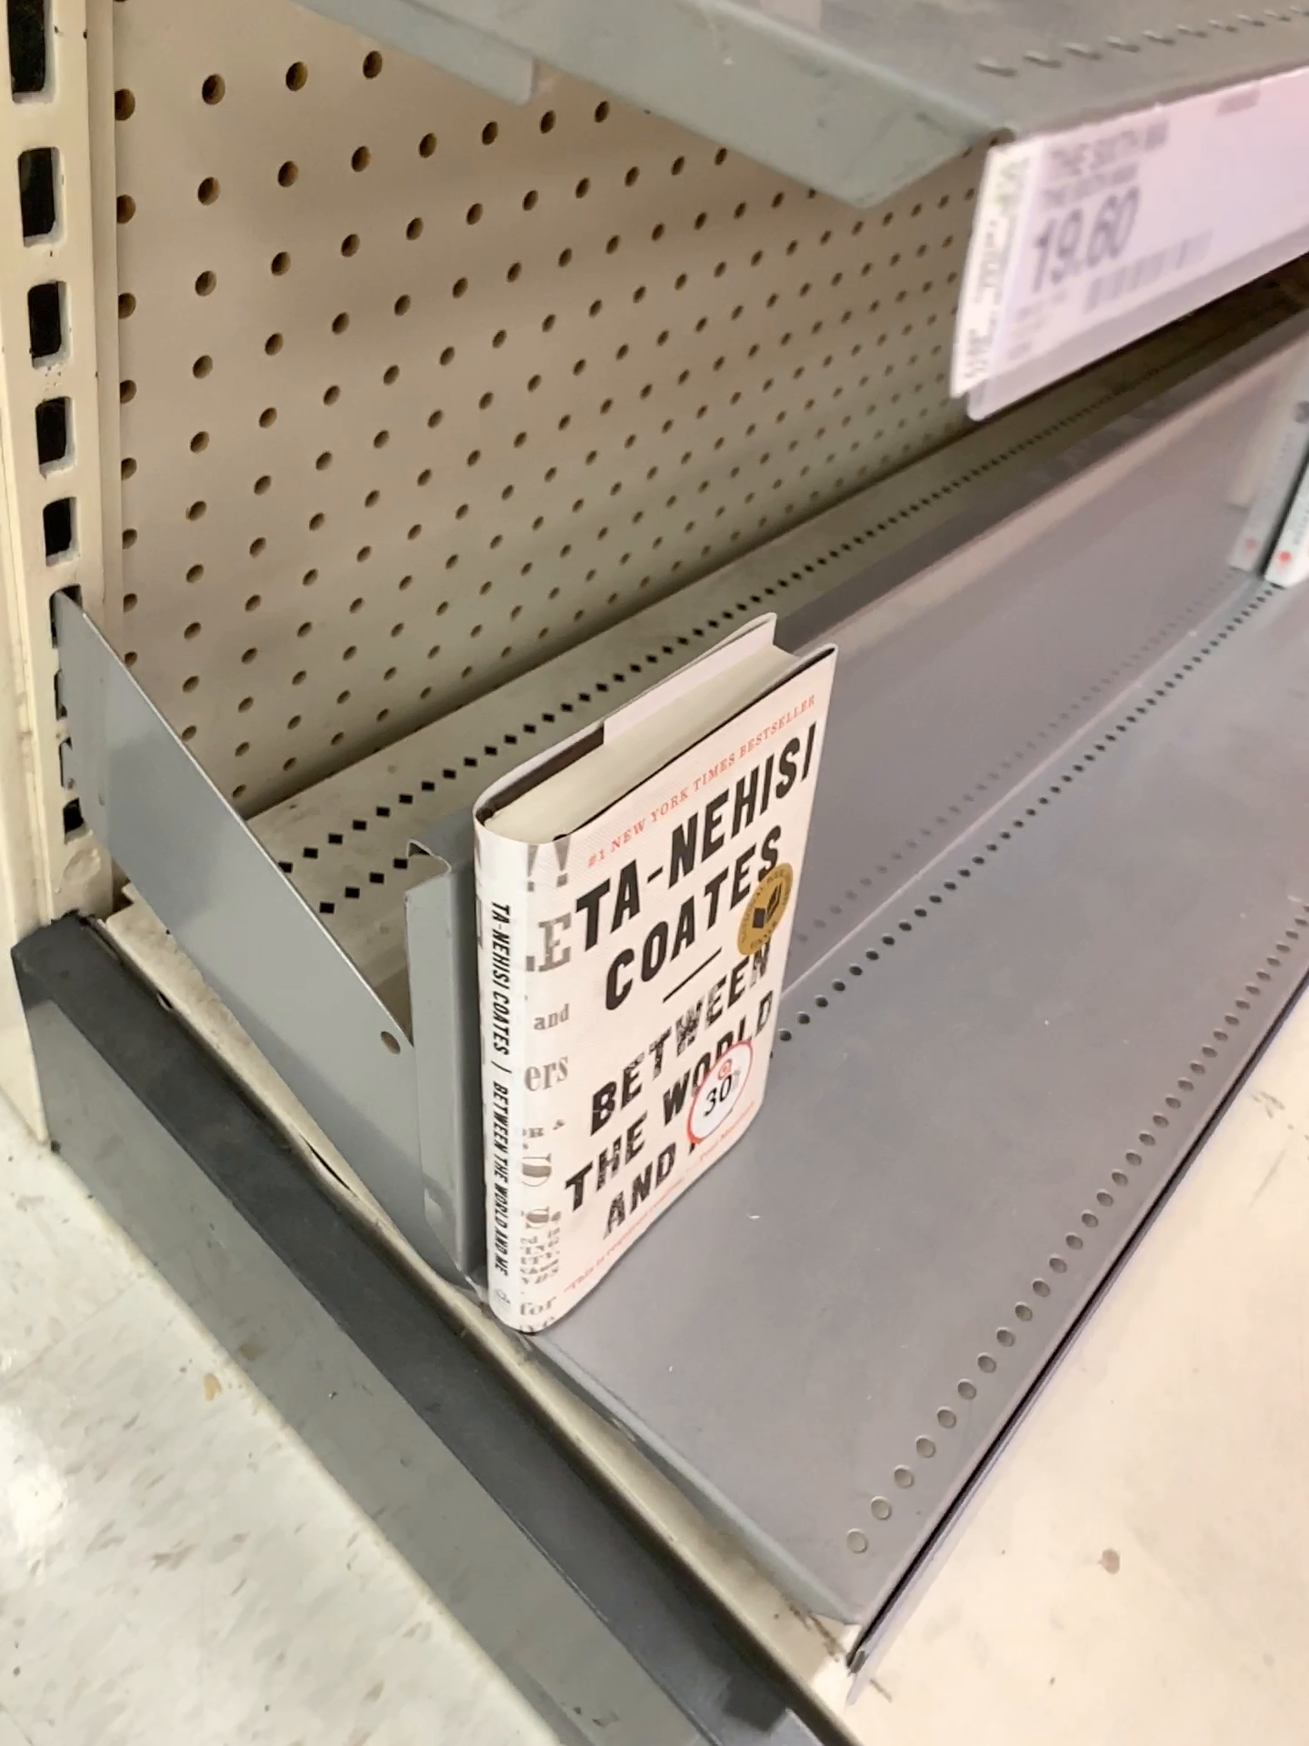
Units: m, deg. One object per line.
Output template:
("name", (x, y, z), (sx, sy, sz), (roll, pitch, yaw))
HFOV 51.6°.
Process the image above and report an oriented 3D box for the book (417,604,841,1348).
("book", (-0.003, 0.033, 0.397), (0.030, 0.186, 0.130), (27, 46, 29))
